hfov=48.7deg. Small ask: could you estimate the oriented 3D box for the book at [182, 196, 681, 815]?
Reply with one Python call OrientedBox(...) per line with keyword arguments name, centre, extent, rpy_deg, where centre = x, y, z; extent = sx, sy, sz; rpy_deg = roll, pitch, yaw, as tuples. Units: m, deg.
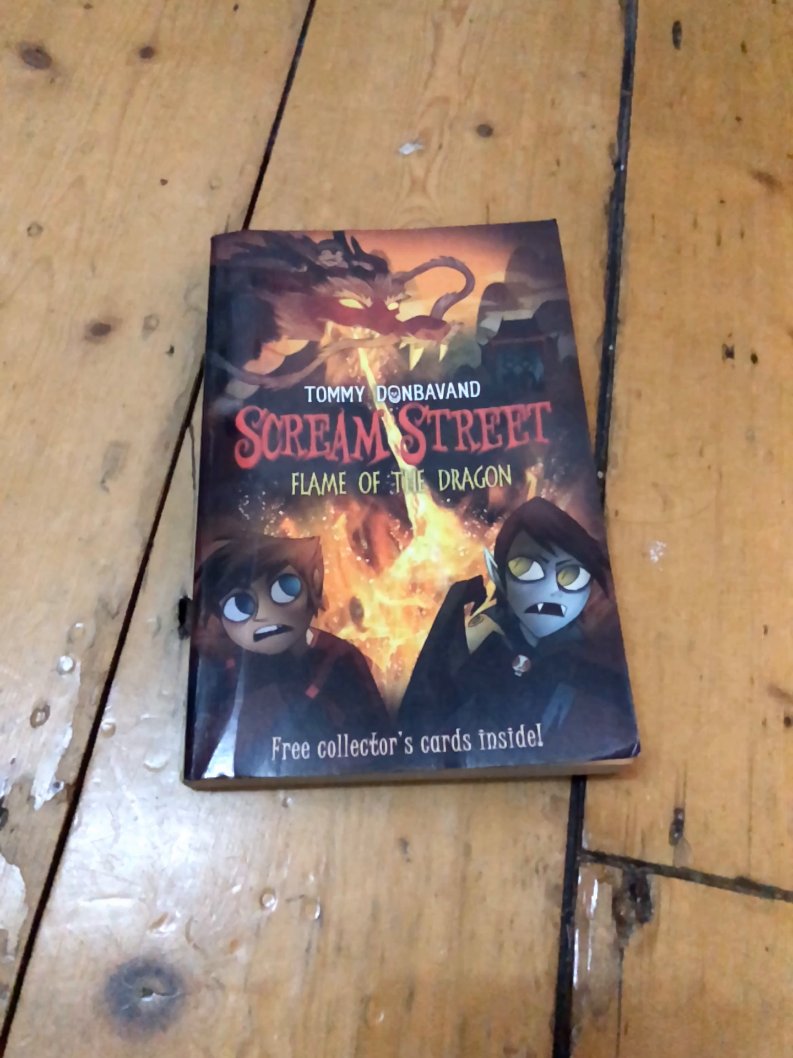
OrientedBox(name="book", centre=(0.004, -0.017, 0.286), extent=(0.130, 0.040, 0.201), rpy_deg=(-2, 66, -4))
